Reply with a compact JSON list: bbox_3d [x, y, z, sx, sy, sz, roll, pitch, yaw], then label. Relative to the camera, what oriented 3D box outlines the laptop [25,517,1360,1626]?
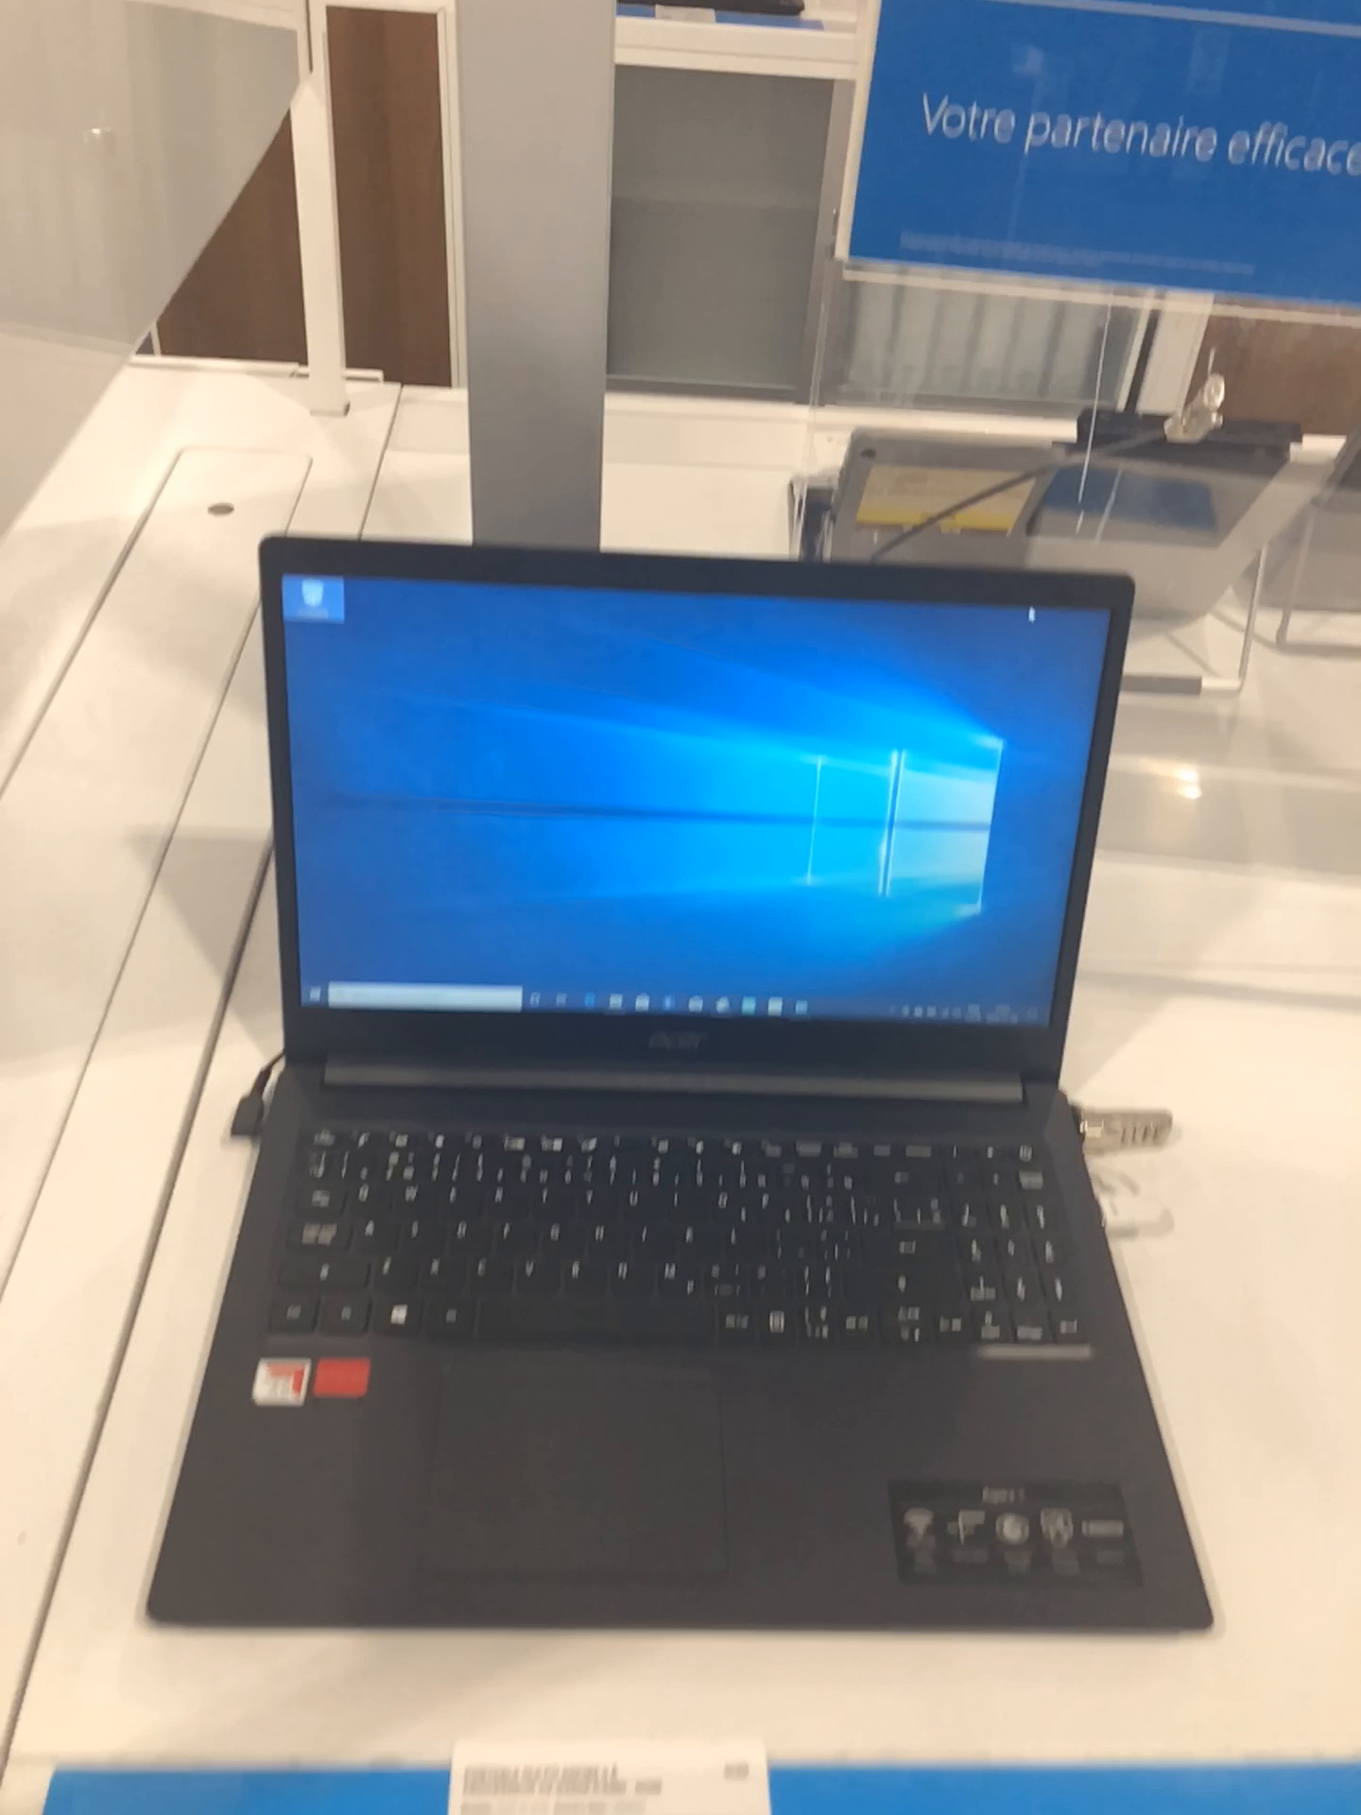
[{"bbox_3d":[0.006,0.046,0.583,0.367,0.212,0.351,2,43,-3],"label":"laptop"}]
